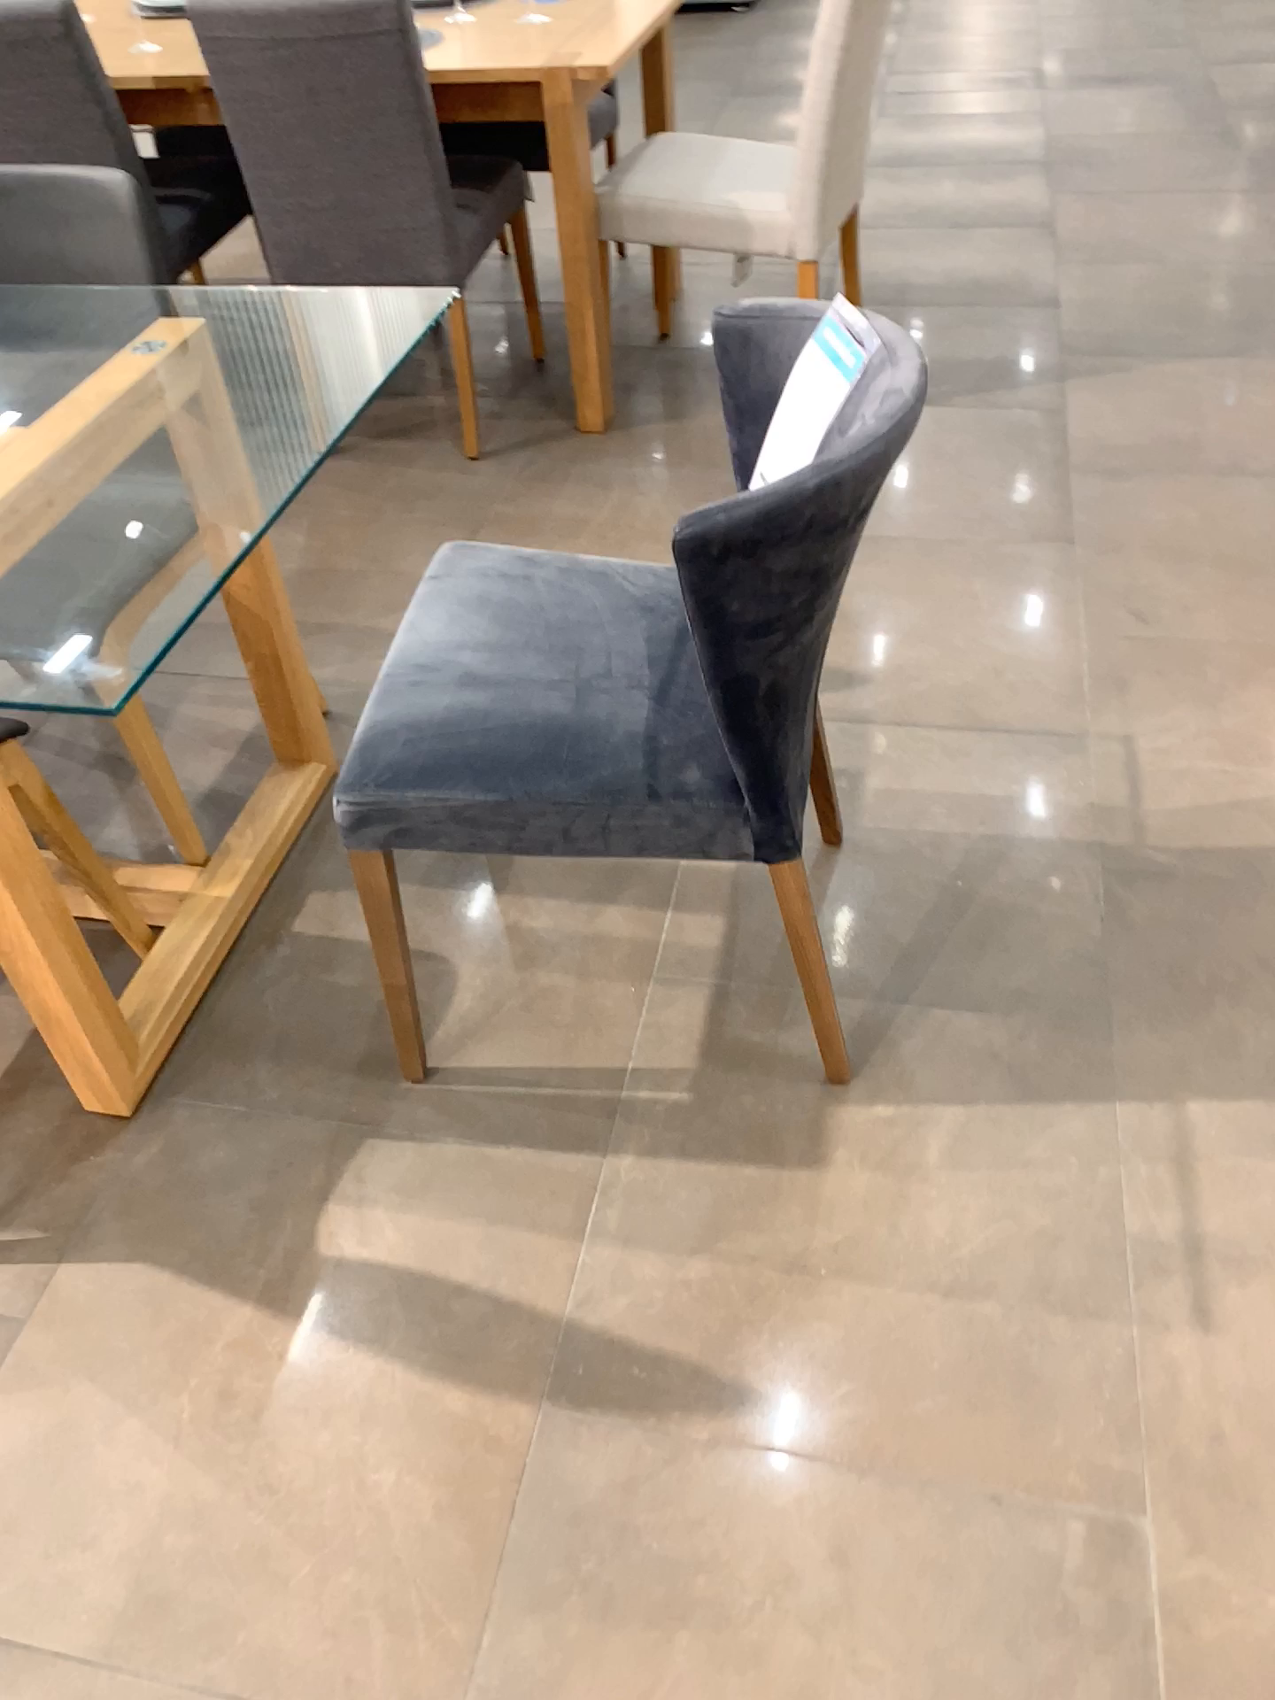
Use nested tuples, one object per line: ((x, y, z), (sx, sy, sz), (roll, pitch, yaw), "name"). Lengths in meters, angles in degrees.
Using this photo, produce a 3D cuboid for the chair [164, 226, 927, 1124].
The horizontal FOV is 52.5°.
((-0.014, -0.191, 1.493), (0.613, 0.805, 0.583), (3, 43, 9), "chair")
